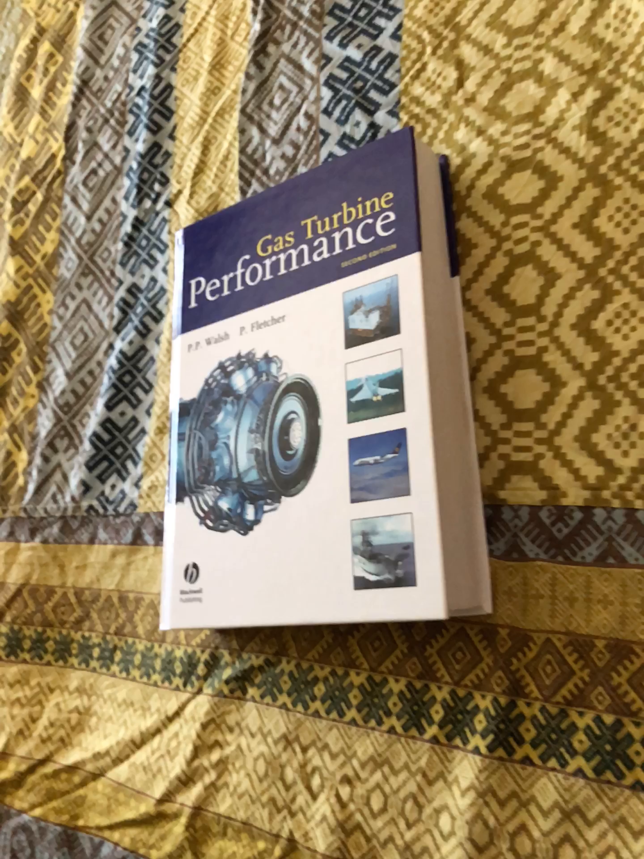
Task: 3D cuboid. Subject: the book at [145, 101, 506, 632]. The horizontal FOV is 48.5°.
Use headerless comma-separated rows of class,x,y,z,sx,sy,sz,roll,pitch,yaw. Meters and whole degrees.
book,-0.008,-0.025,0.423,0.193,0.060,0.272,-13,69,32
